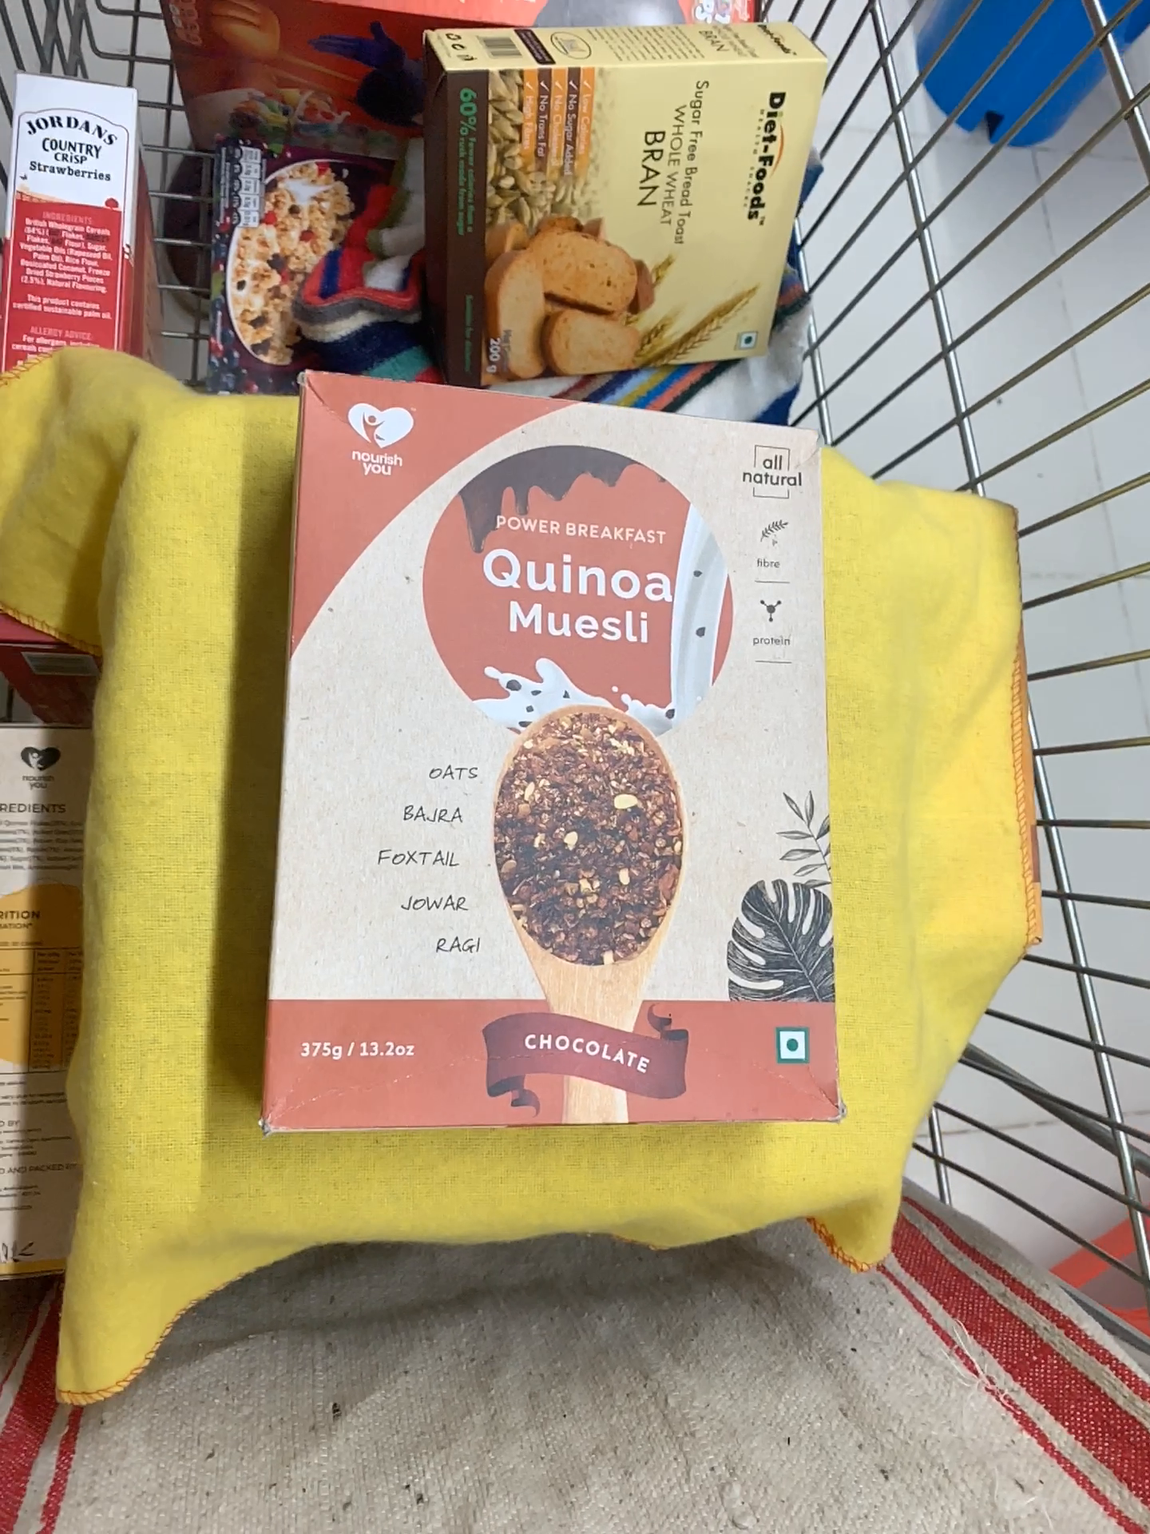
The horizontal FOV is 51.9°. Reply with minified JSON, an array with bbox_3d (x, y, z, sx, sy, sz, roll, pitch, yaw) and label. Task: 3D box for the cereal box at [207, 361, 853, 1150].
[{"bbox_3d":[-0.012,0.000,0.355,0.170,0.060,0.210,3,80,-12],"label":"cereal box"}]
